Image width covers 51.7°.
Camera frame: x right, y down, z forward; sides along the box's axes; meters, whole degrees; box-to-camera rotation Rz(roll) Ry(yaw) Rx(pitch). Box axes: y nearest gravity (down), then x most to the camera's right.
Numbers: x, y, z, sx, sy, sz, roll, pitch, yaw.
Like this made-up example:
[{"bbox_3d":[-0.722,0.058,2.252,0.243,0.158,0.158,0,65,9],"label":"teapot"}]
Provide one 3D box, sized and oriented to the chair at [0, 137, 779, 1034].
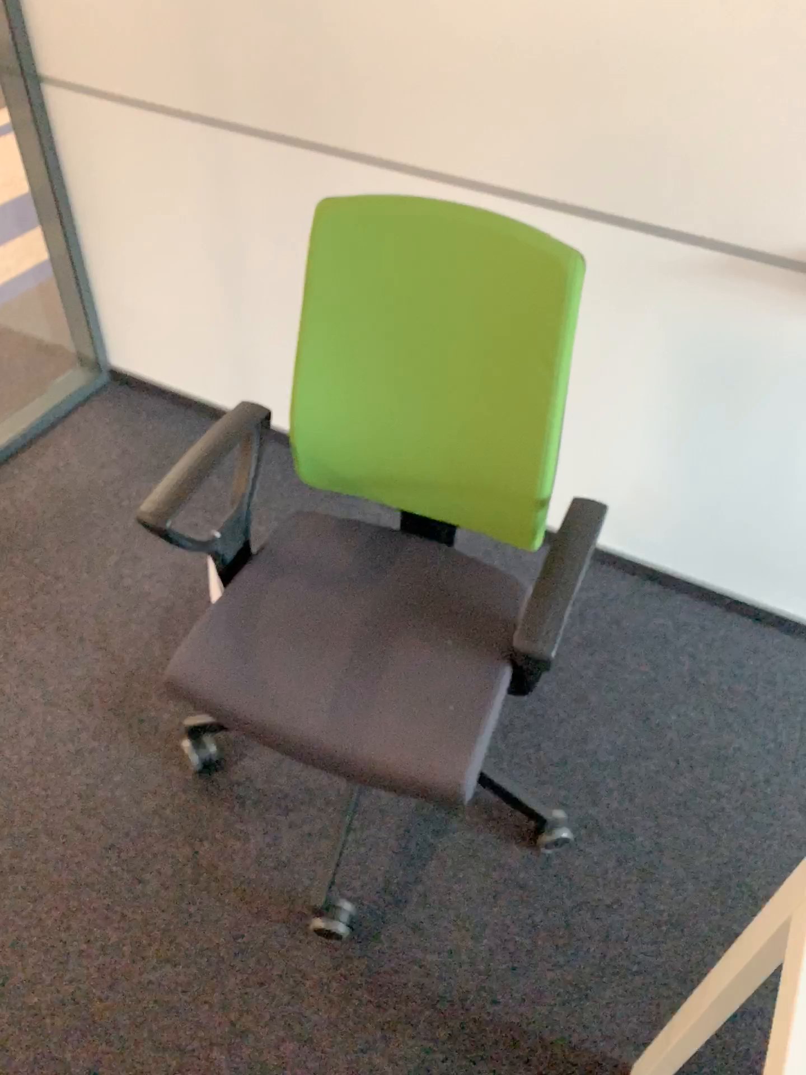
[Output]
[{"bbox_3d":[-0.013,0.079,1.272,0.760,0.965,0.733,17,47,13],"label":"chair"}]
